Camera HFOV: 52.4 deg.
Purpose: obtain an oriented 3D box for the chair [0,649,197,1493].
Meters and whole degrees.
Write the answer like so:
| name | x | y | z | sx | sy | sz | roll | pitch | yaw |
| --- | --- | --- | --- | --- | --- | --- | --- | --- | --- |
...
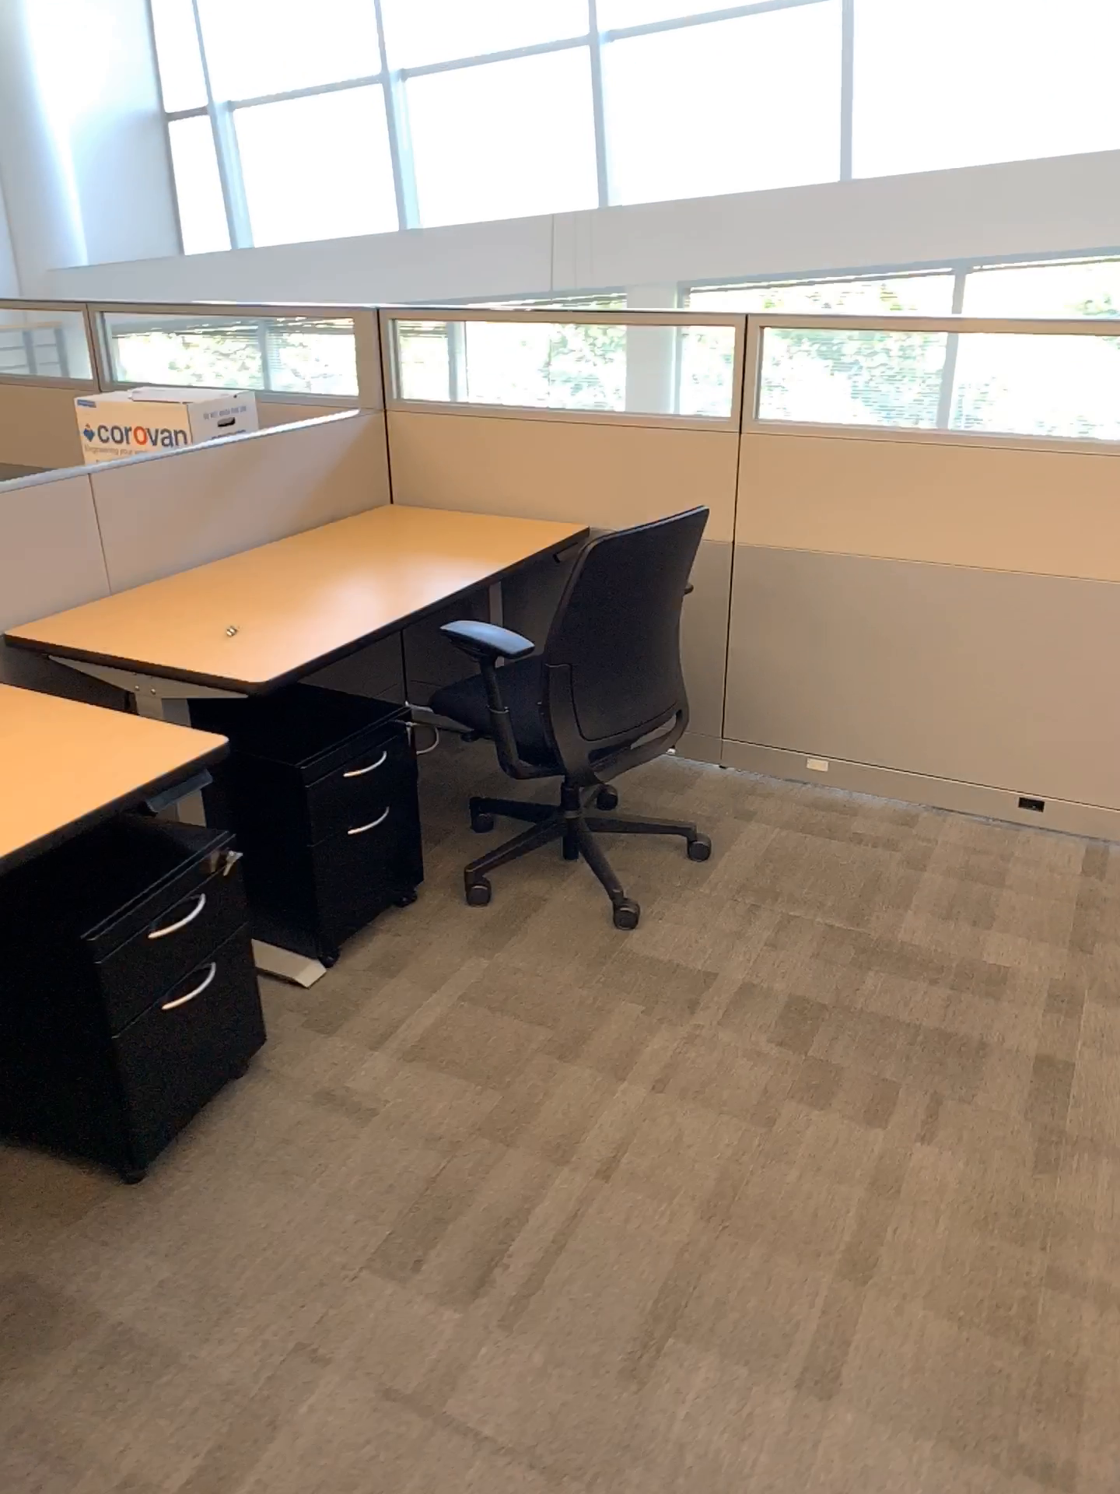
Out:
| name | x | y | z | sx | sy | sz | roll | pitch | yaw |
| --- | --- | --- | --- | --- | --- | --- | --- | --- | --- |
| chair | -1.013 | 0.624 | 1.332 | 0.751 | 1.184 | 0.763 | -18 | 29 | -34 |

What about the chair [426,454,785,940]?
| name | x | y | z | sx | sy | sz | roll | pitch | yaw |
| --- | --- | --- | --- | --- | --- | --- | --- | --- | --- |
| chair | 0.131 | -0.211 | 3.621 | 0.751 | 1.234 | 0.763 | -18 | 29 | -34 |
